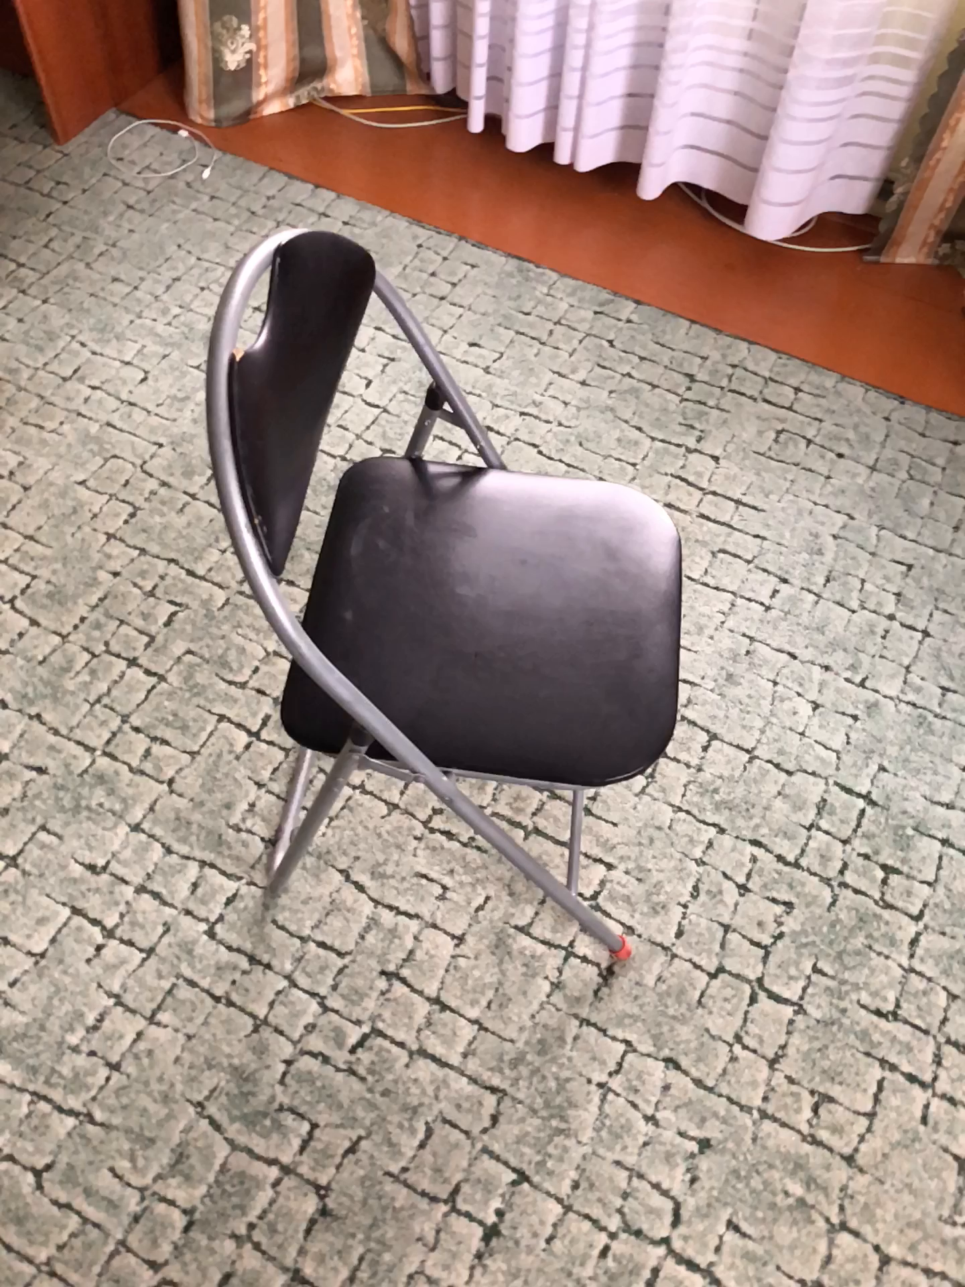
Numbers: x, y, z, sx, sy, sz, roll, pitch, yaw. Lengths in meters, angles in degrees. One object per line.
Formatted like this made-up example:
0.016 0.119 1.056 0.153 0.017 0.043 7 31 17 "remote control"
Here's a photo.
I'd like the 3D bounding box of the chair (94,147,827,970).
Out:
-0.008 -0.024 1.112 0.474 0.732 0.459 6 56 1 "chair"
